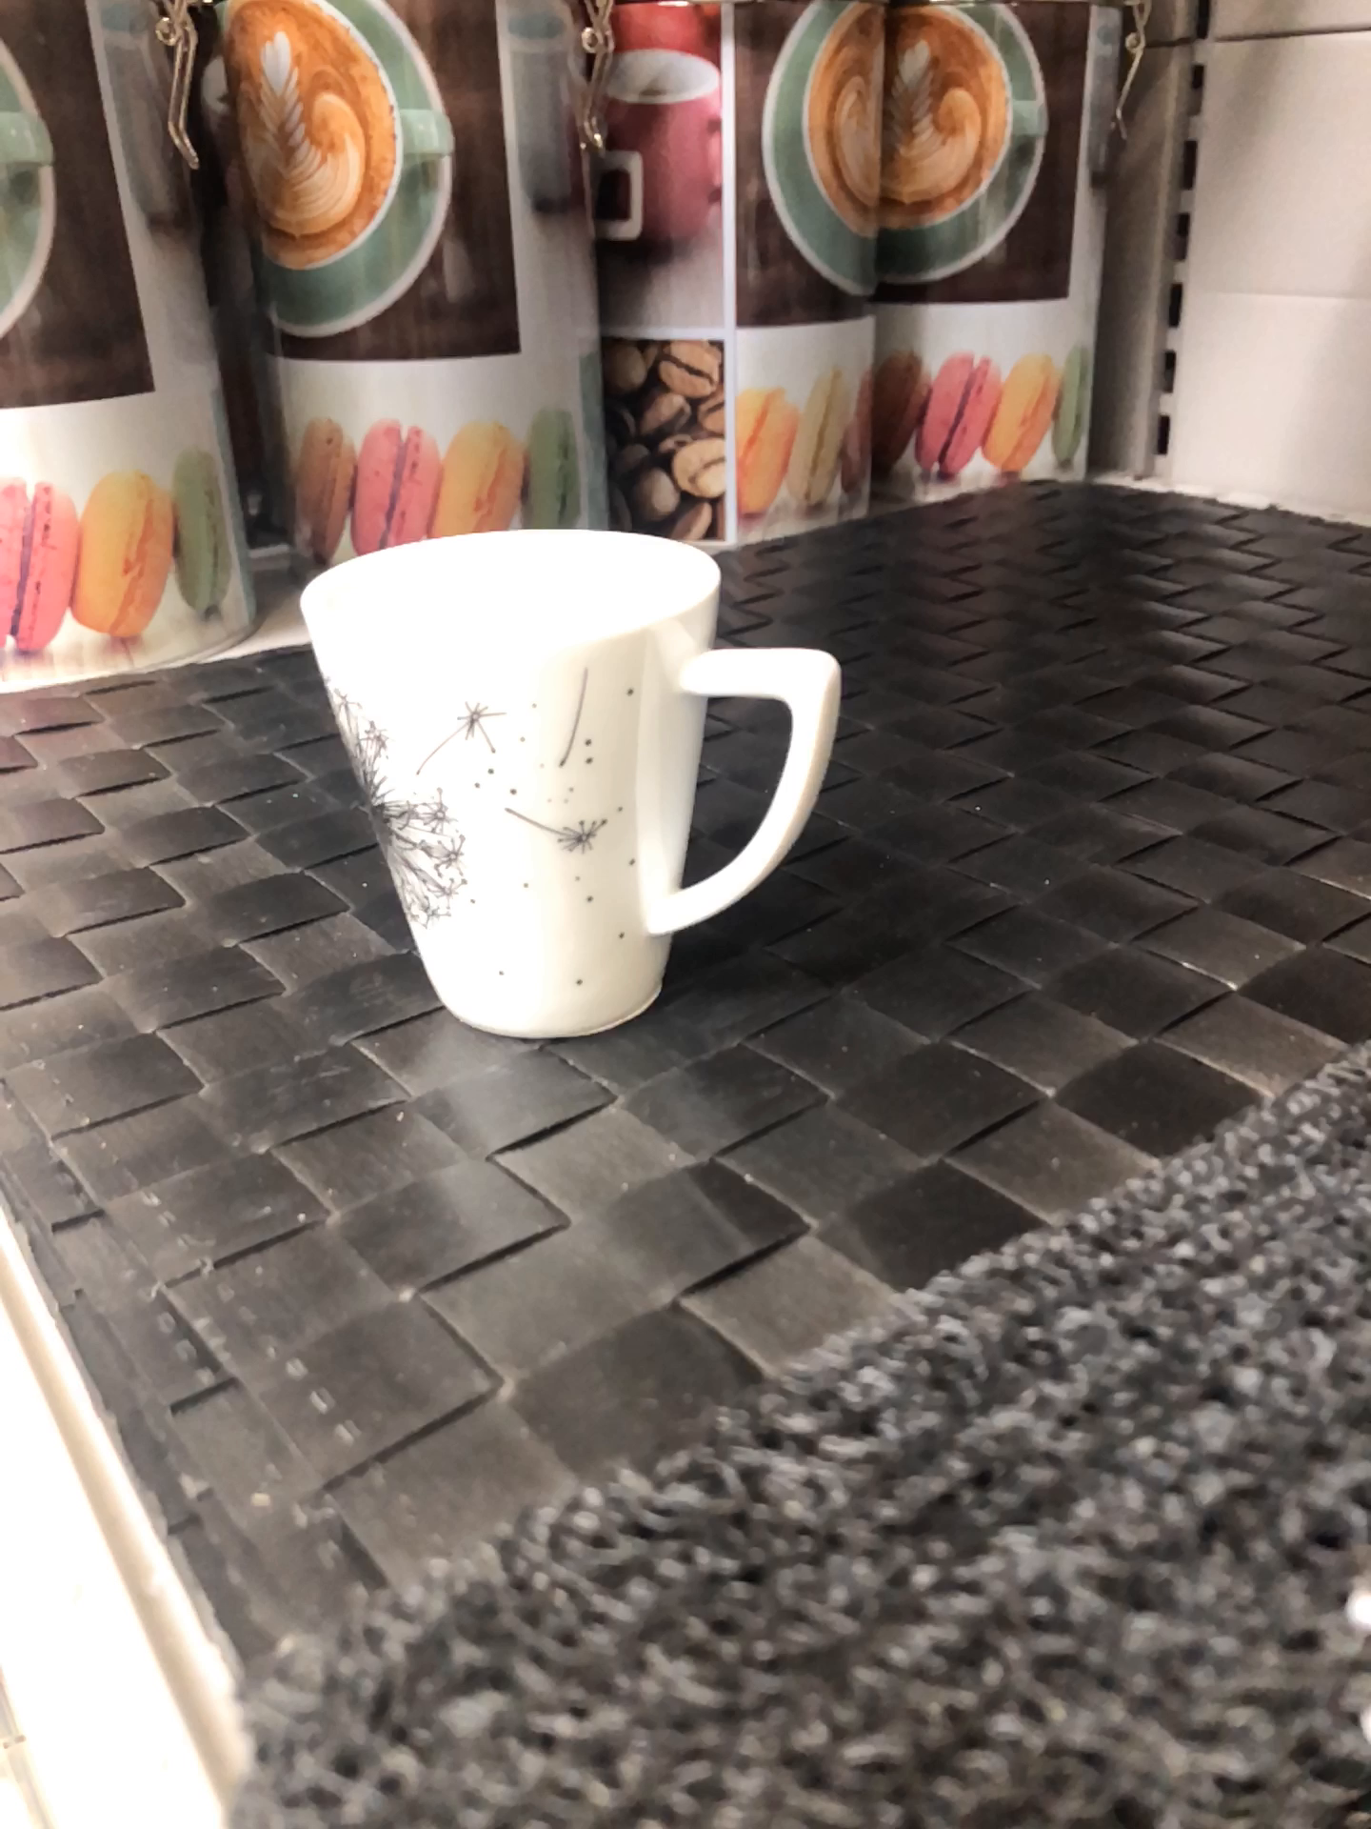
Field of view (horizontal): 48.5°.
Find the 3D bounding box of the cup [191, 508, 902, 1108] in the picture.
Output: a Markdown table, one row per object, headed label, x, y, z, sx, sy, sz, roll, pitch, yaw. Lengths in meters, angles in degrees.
| label | x | y | z | sx | sy | sz | roll | pitch | yaw |
| --- | --- | --- | --- | --- | --- | --- | --- | --- | --- |
| cup | -0.016 | -0.020 | 0.226 | 0.081 | 0.060 | 0.057 | 10 | 35 | 24 |
